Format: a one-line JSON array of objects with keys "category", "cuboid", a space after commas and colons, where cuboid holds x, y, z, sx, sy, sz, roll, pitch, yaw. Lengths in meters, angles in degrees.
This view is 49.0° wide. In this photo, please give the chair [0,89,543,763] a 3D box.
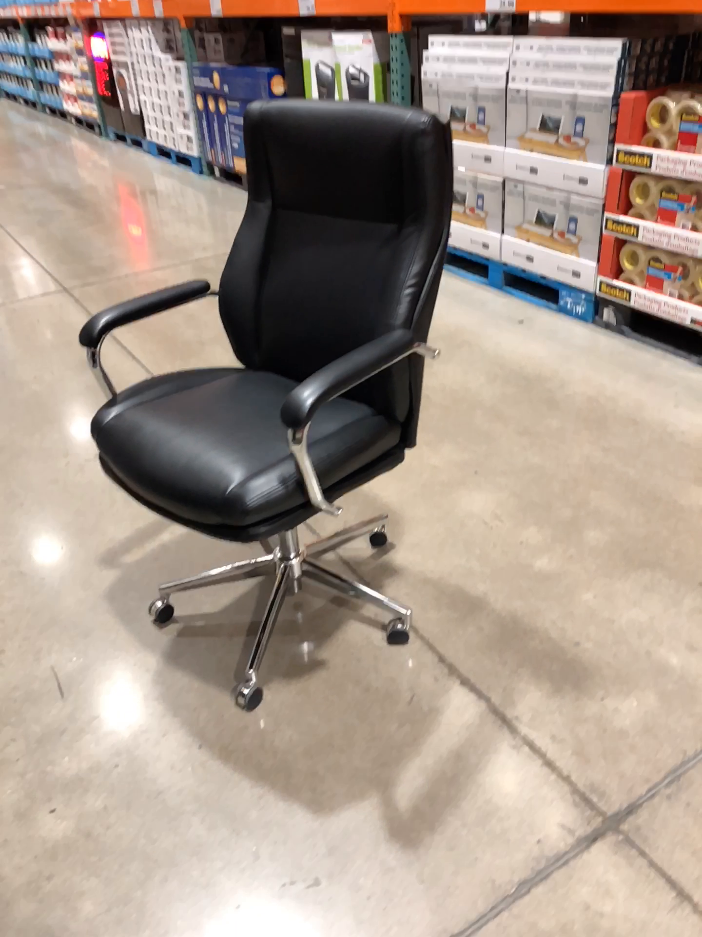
[{"category": "chair", "cuboid": [-0.141, -0.155, 1.601, 0.712, 1.045, 0.701, 25, 41, 37]}]
